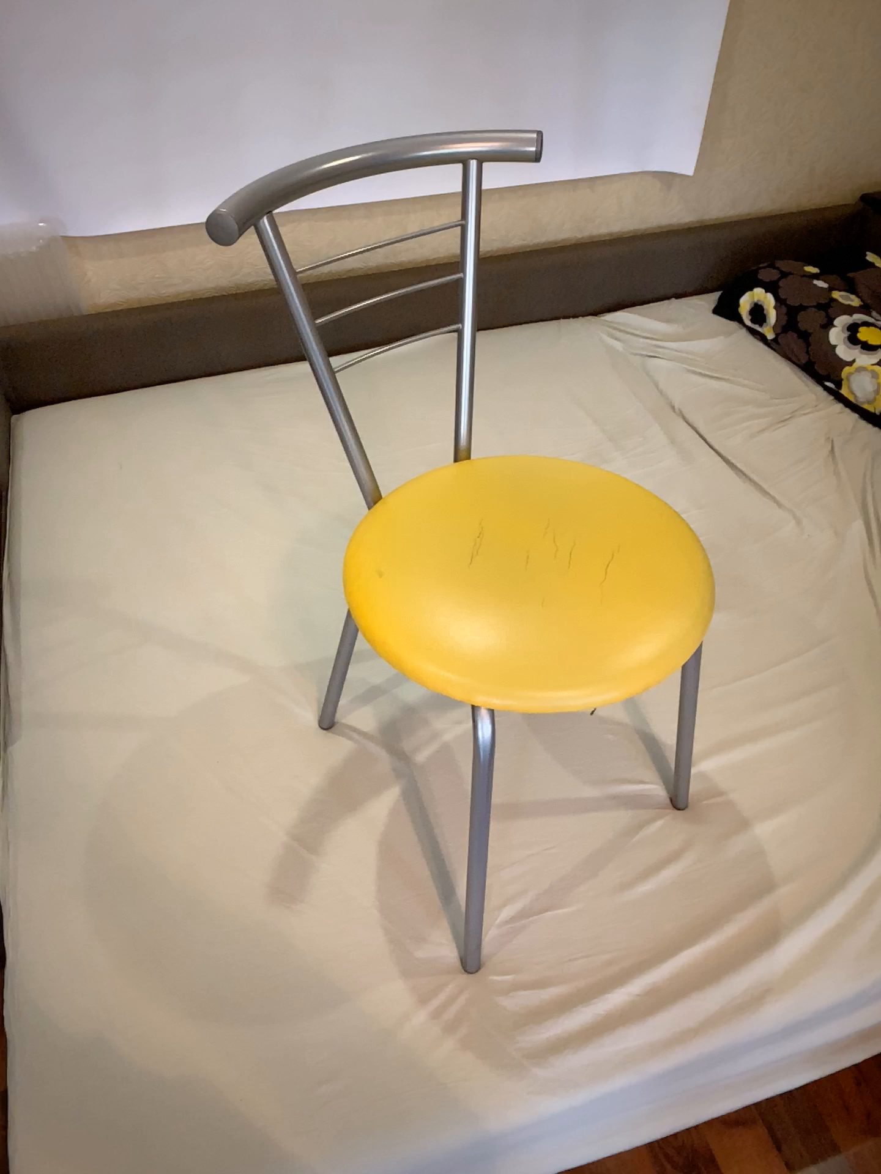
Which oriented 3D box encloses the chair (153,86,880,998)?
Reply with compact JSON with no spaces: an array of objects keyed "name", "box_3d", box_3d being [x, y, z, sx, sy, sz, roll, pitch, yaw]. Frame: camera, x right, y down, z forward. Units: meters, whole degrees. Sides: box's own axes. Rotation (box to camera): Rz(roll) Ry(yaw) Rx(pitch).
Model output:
[{"name":"chair","box_3d":[0.079,-0.038,1.012,0.461,0.763,0.503,-27,51,-25]}]
